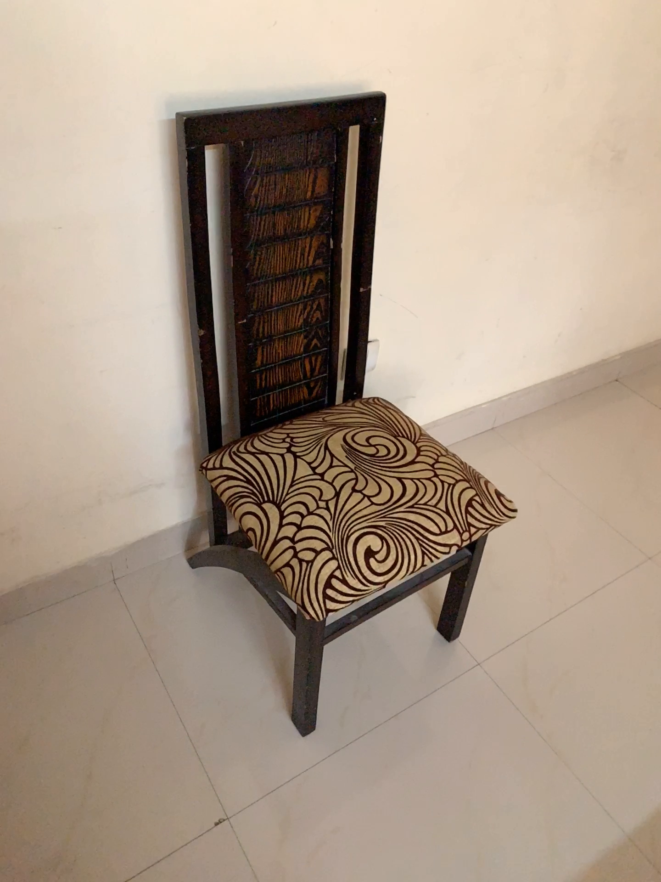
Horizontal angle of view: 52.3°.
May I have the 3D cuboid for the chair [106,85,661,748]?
[{"bbox_3d":[0.021,-0.052,1.227,0.532,0.922,0.583,-22,47,-30],"label":"chair"}]
